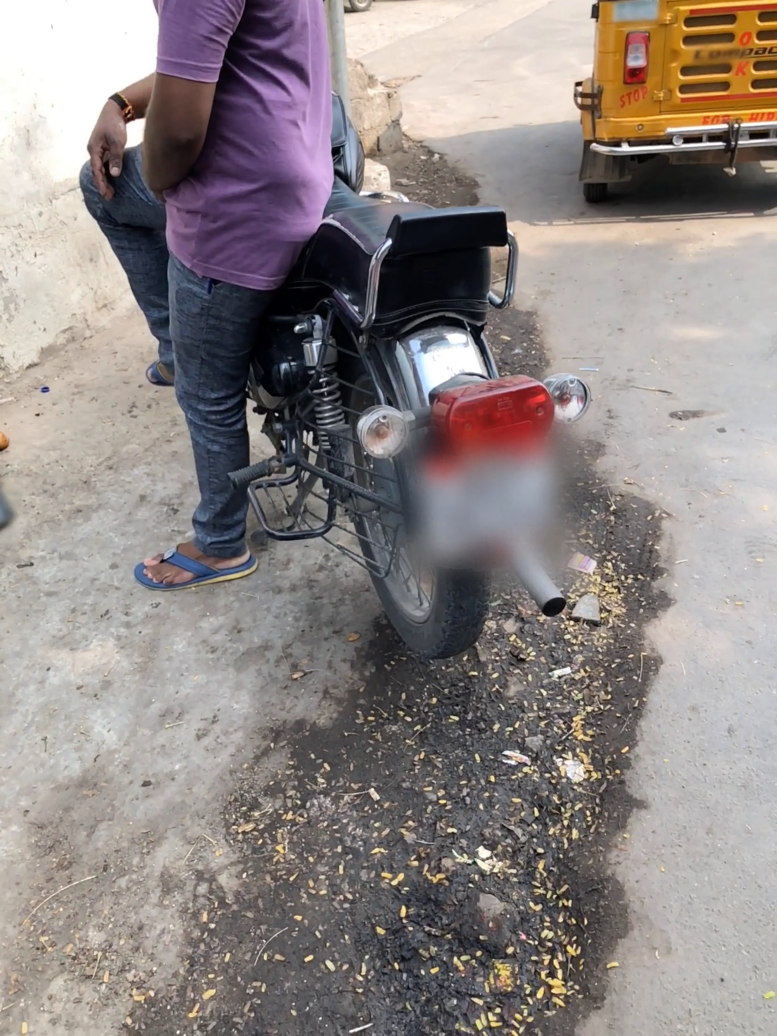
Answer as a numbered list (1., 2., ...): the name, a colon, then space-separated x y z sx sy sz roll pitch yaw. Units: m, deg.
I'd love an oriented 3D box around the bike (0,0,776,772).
1. bike: -0.288 -0.606 2.029 0.840 1.173 1.927 -18 40 -18
